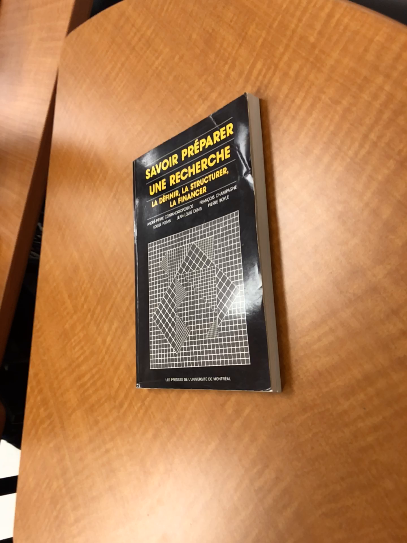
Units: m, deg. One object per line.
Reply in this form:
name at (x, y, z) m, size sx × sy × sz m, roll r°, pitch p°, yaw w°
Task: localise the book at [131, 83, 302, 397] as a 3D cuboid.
book at (-0.002, -0.015, 0.394) m, size 0.161 × 0.030 × 0.240 m, roll -15°, pitch 73°, yaw 44°
